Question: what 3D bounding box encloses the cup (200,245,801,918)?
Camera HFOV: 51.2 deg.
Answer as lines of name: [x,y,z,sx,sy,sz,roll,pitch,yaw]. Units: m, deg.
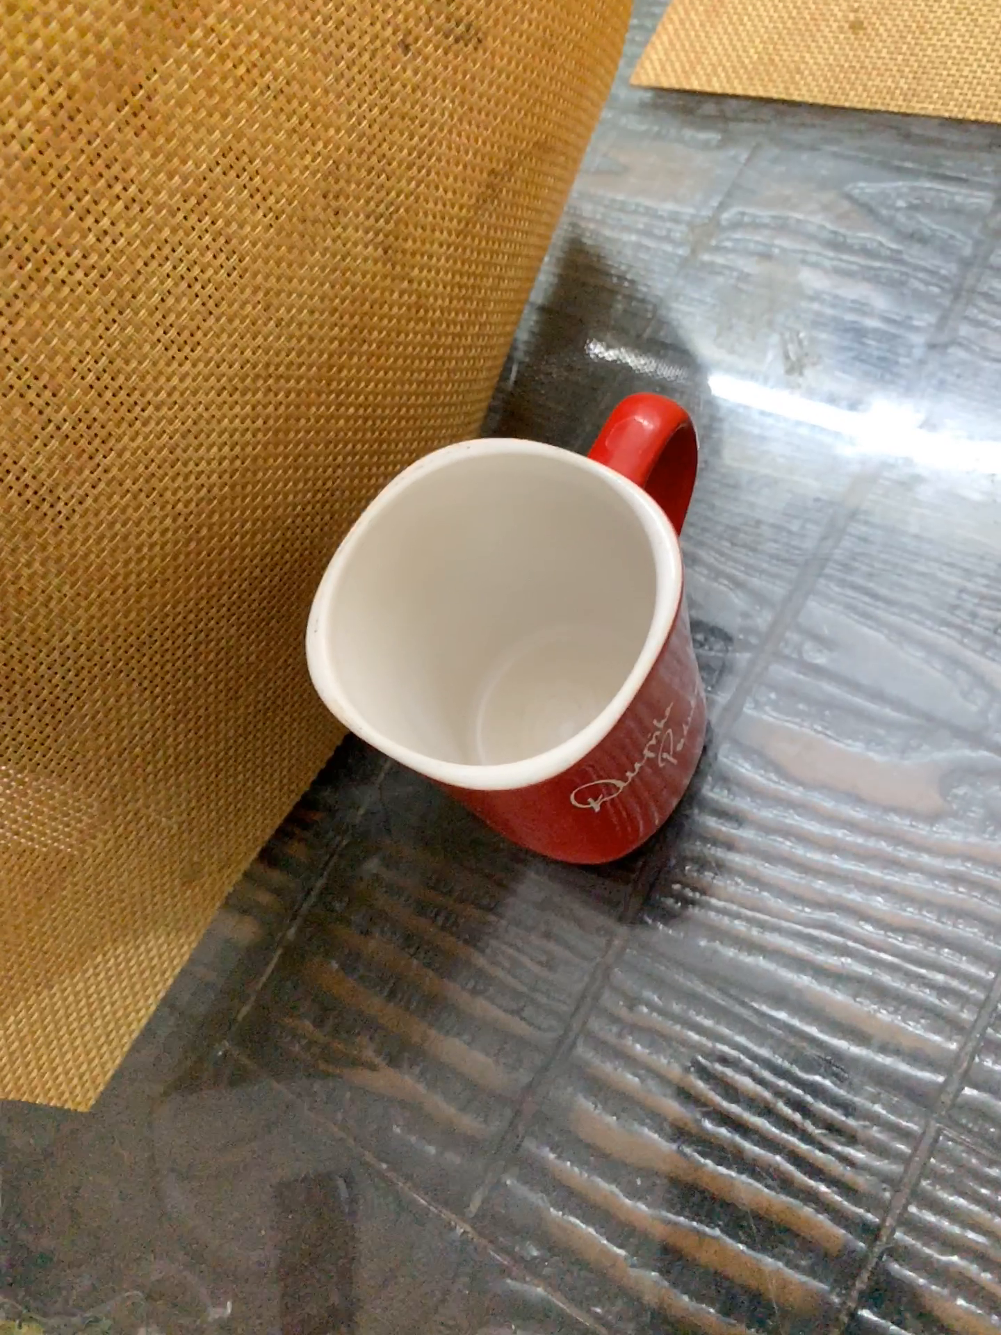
cup: [0.010,-0.013,0.216,0.070,0.085,0.096,21,76,23]
